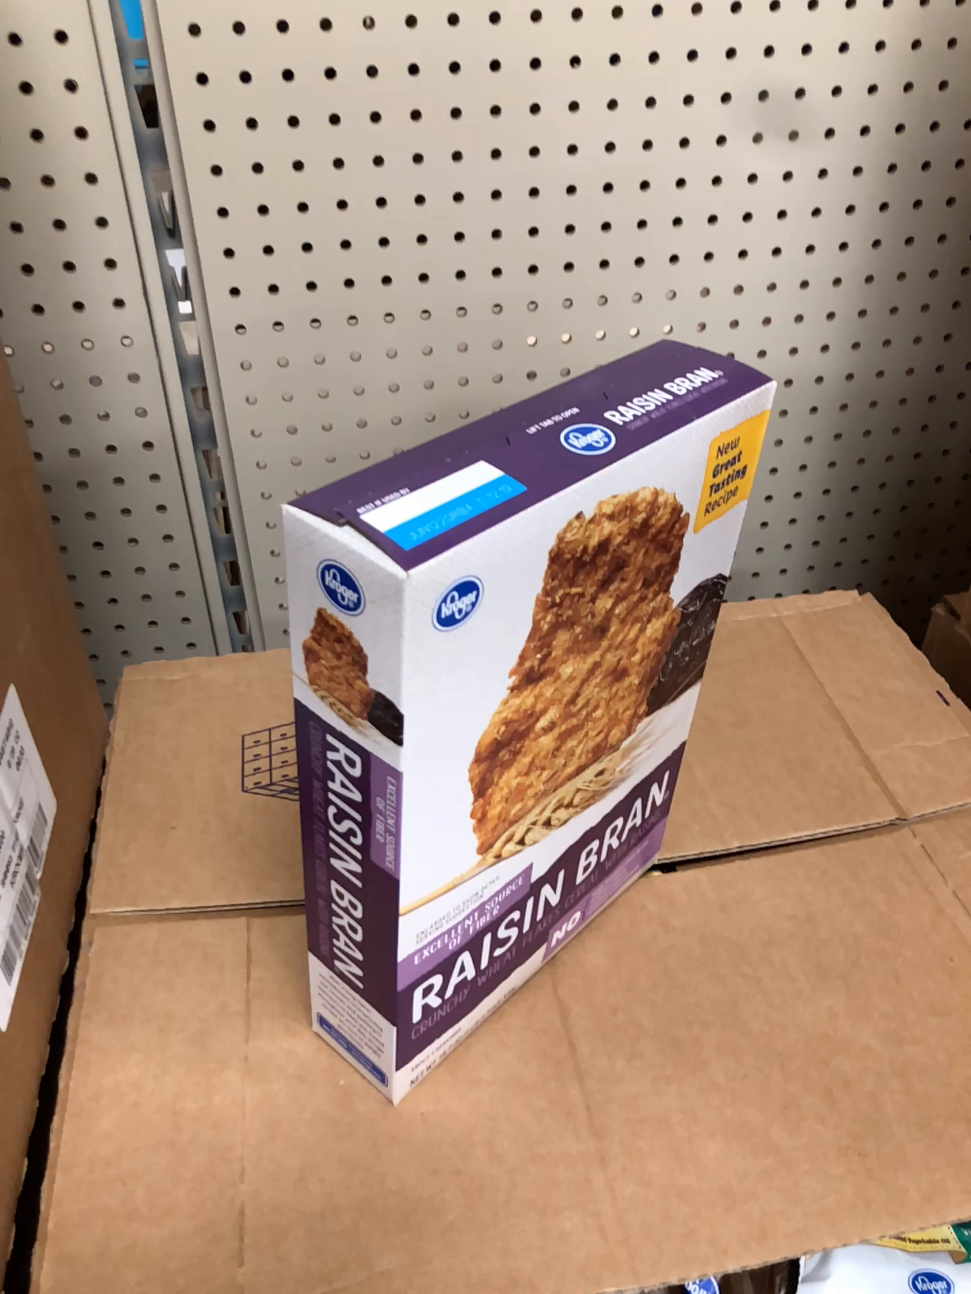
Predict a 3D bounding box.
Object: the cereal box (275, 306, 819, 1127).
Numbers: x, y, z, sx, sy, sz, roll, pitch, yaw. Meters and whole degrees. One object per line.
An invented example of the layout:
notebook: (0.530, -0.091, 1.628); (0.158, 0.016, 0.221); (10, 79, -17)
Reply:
cereal box: (0.021, 0.036, 0.412); (0.050, 0.279, 0.190); (34, 49, 30)
